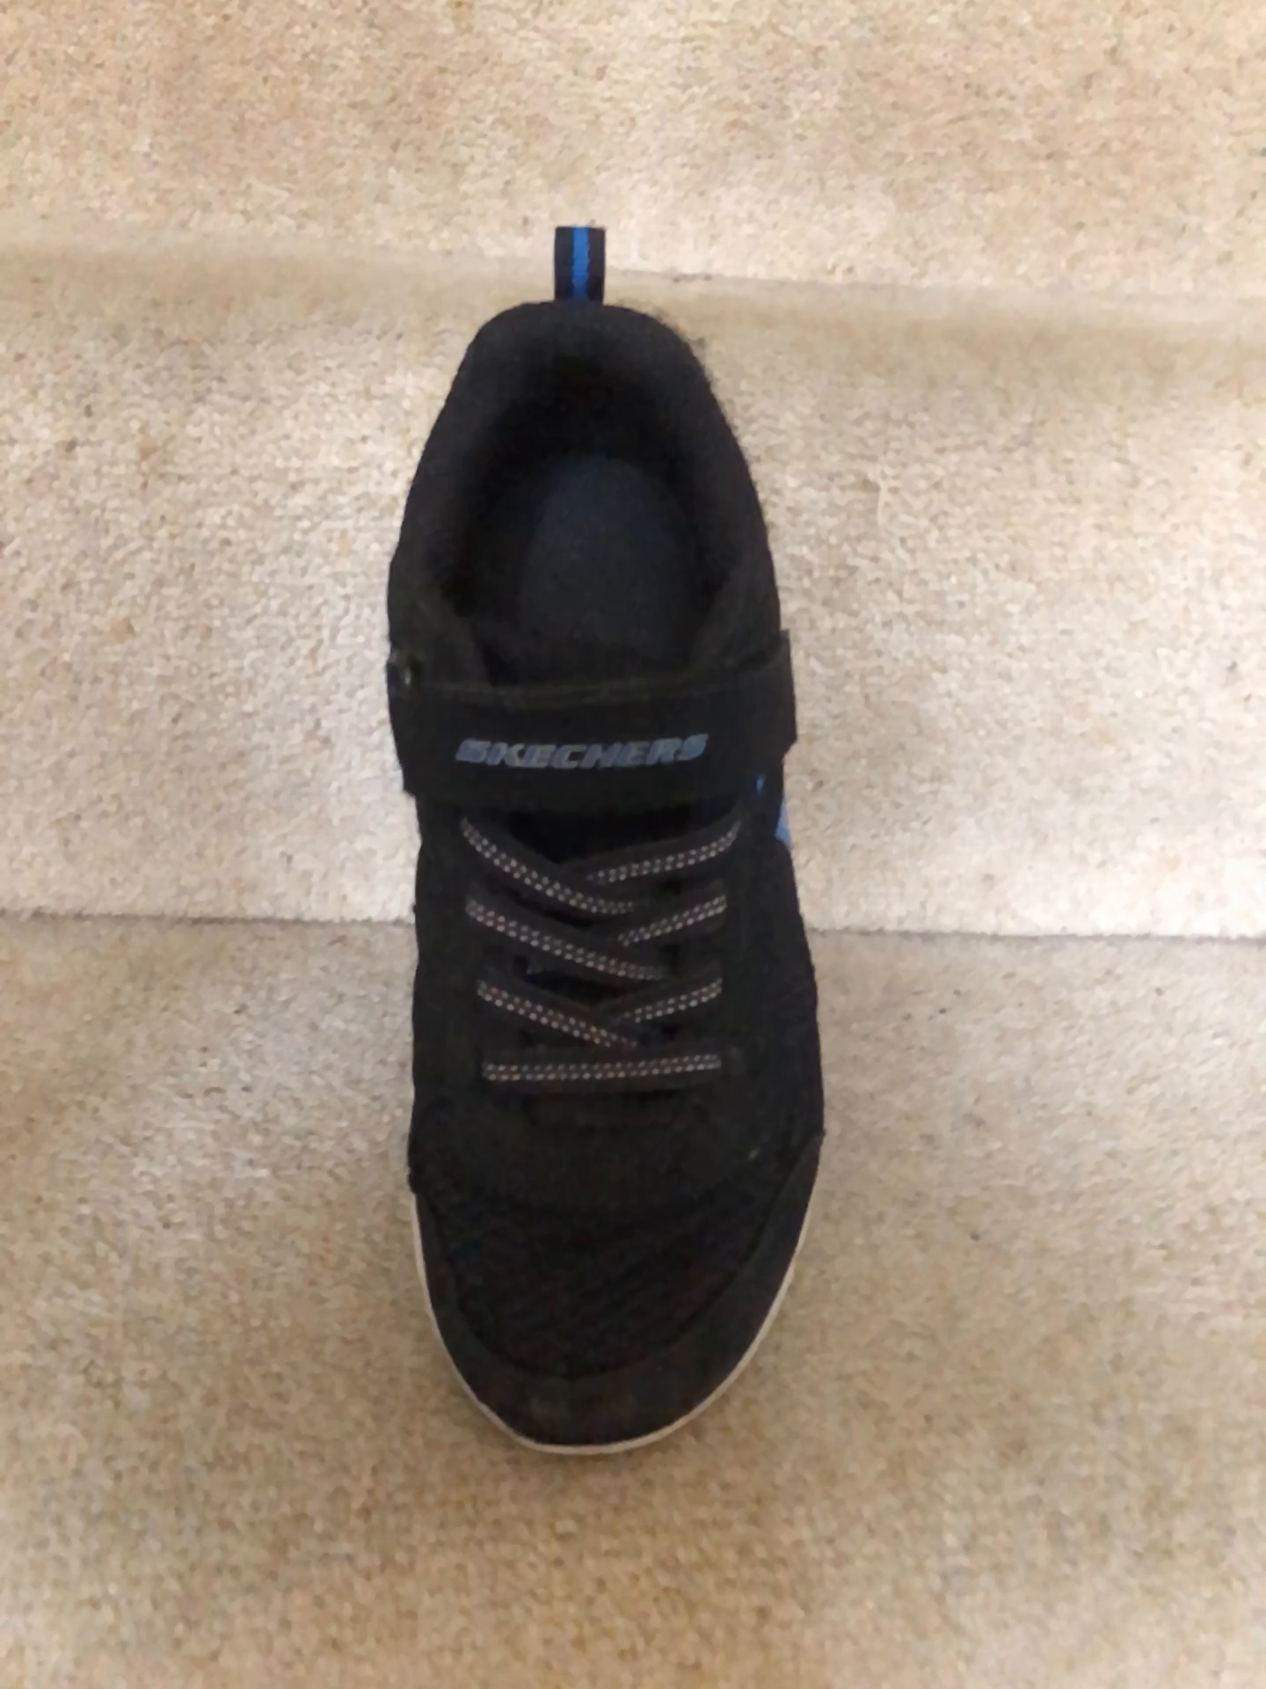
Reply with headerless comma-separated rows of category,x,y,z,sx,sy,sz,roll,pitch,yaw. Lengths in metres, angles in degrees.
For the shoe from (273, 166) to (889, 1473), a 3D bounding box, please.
shoe,-0.009,-0.005,0.279,0.090,0.221,0.100,-2,-14,2
